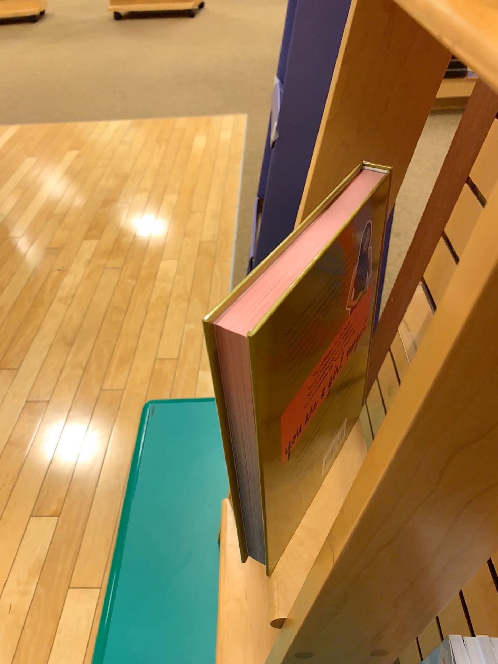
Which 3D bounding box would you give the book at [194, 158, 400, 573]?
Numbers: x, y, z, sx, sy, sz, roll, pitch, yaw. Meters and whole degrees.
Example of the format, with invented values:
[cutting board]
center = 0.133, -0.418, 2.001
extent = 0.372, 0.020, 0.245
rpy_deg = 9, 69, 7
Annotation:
[book]
center = 0.041, 0.026, 0.344
extent = 0.030, 0.219, 0.181
rpy_deg = 20, 47, 24
